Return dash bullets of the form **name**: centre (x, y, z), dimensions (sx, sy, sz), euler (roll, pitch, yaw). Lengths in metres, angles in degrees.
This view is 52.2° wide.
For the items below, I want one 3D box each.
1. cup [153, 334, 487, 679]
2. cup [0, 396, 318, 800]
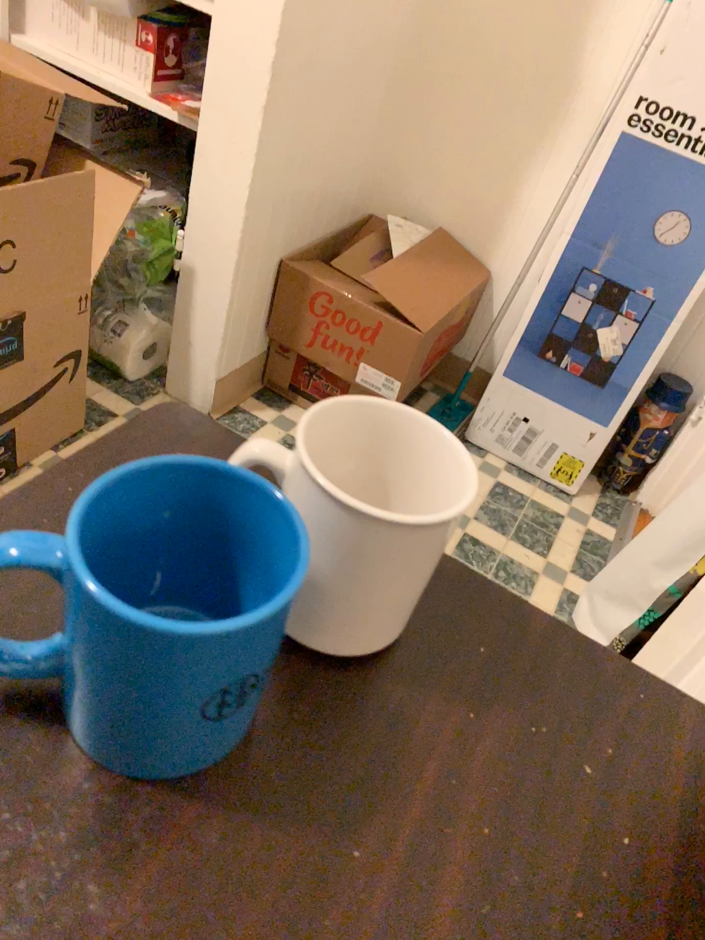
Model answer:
- **cup**: centre (-0.013, 0.015, 0.330), dimensions (0.120, 0.090, 0.090), euler (18, 38, -2)
- **cup**: centre (-0.094, 0.051, 0.266), dimensions (0.140, 0.099, 0.090), euler (9, 39, -13)
